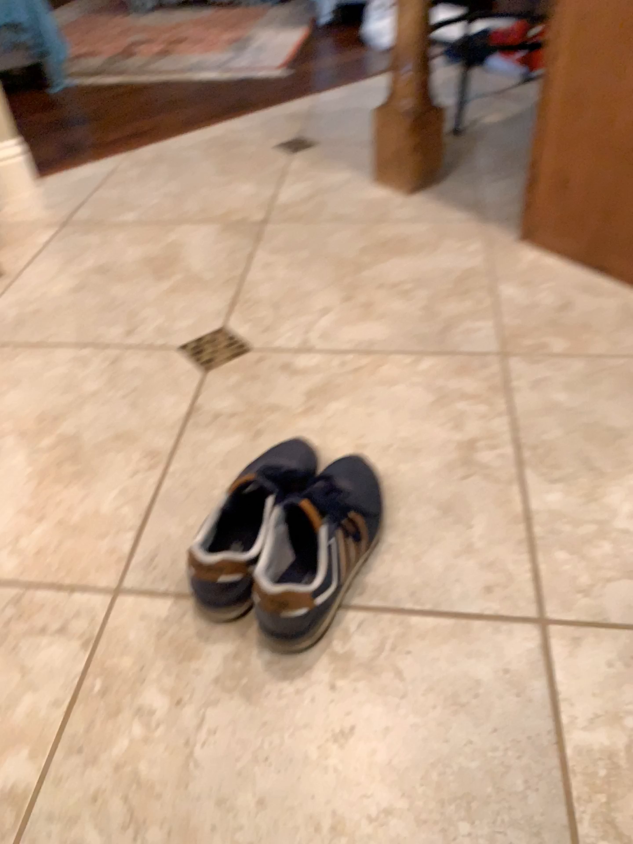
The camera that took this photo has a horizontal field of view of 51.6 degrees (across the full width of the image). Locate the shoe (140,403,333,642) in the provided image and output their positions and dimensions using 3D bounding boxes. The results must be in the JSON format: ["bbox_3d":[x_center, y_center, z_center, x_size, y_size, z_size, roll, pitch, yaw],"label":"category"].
[{"bbox_3d":[-0.085,0.113,0.833,0.112,0.102,0.283,13,45,19],"label":"shoe"}]

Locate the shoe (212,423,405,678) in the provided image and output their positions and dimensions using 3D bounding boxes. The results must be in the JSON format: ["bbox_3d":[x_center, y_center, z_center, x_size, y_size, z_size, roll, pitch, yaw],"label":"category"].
[{"bbox_3d":[0.005,0.140,0.791,0.107,0.102,0.283,16,46,22],"label":"shoe"}]
